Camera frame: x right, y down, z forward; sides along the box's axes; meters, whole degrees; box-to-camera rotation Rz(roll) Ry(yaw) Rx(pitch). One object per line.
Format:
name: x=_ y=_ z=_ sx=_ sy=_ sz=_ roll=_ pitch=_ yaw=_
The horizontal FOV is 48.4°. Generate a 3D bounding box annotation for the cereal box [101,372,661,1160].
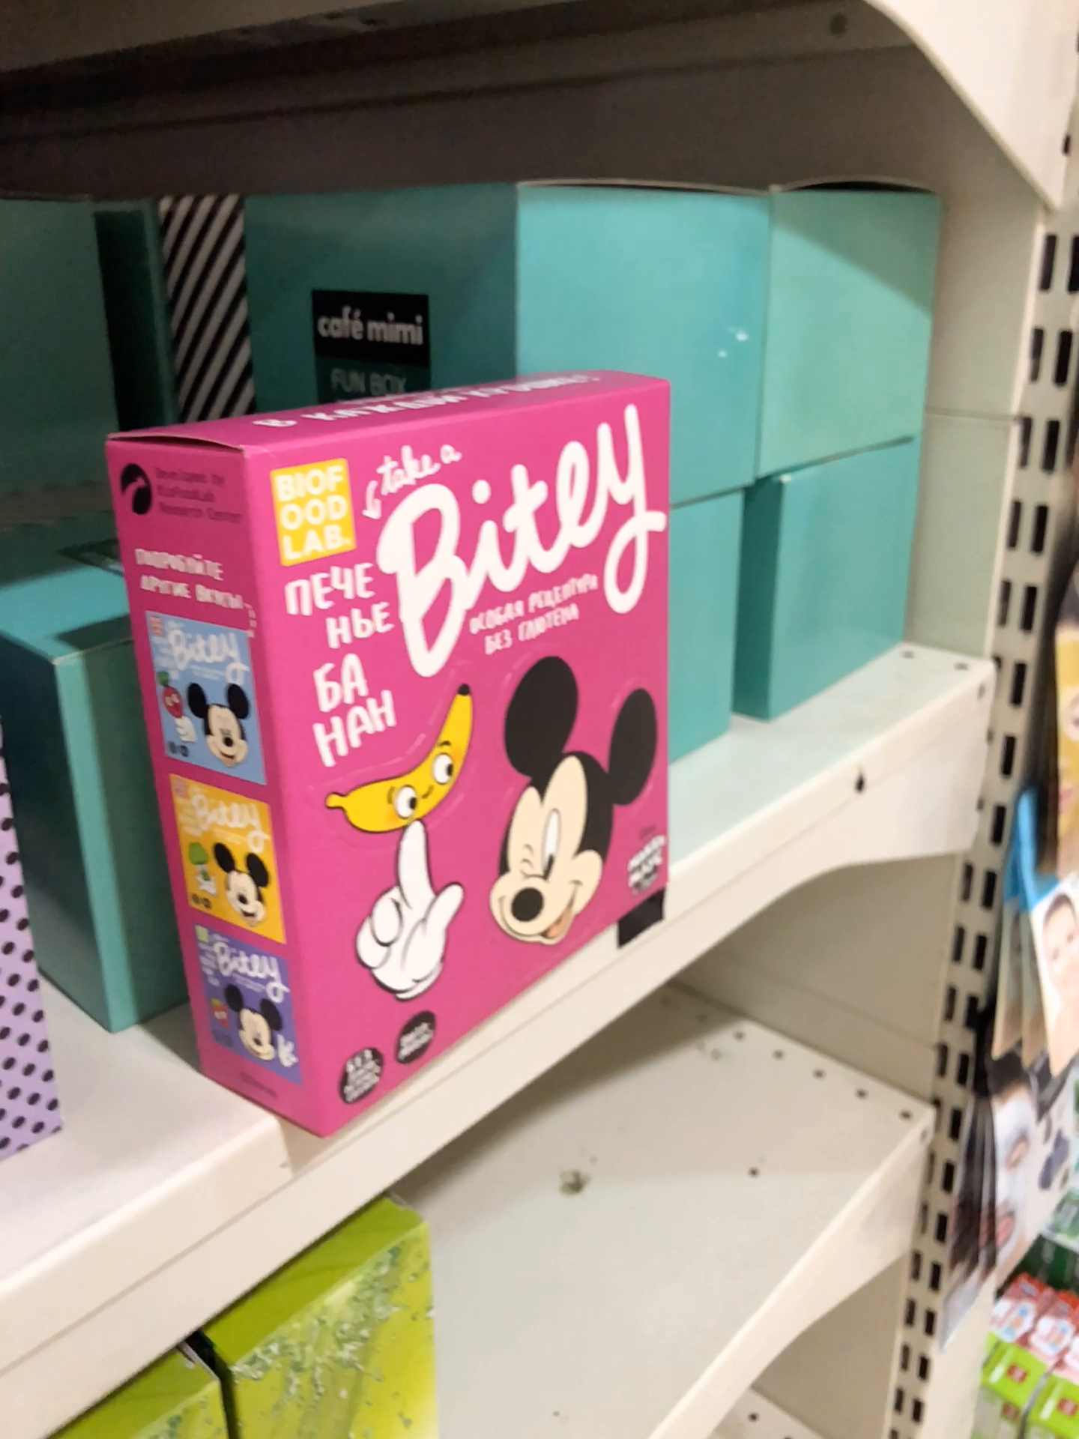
cereal box: x=-0.024 y=-0.002 z=0.293 sx=0.040 sy=0.149 sz=0.141 roll=12 pitch=24 yaw=33
